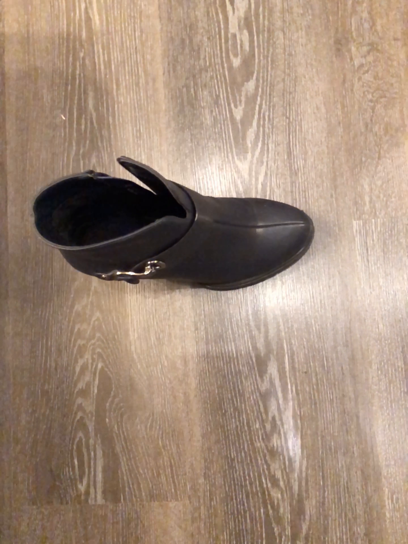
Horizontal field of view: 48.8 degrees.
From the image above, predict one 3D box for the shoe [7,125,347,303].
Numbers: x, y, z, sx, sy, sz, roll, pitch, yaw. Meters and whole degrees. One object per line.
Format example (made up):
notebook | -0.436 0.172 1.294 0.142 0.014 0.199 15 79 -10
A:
shoe | -0.009 -0.036 0.385 0.220 0.180 0.100 4 84 9
